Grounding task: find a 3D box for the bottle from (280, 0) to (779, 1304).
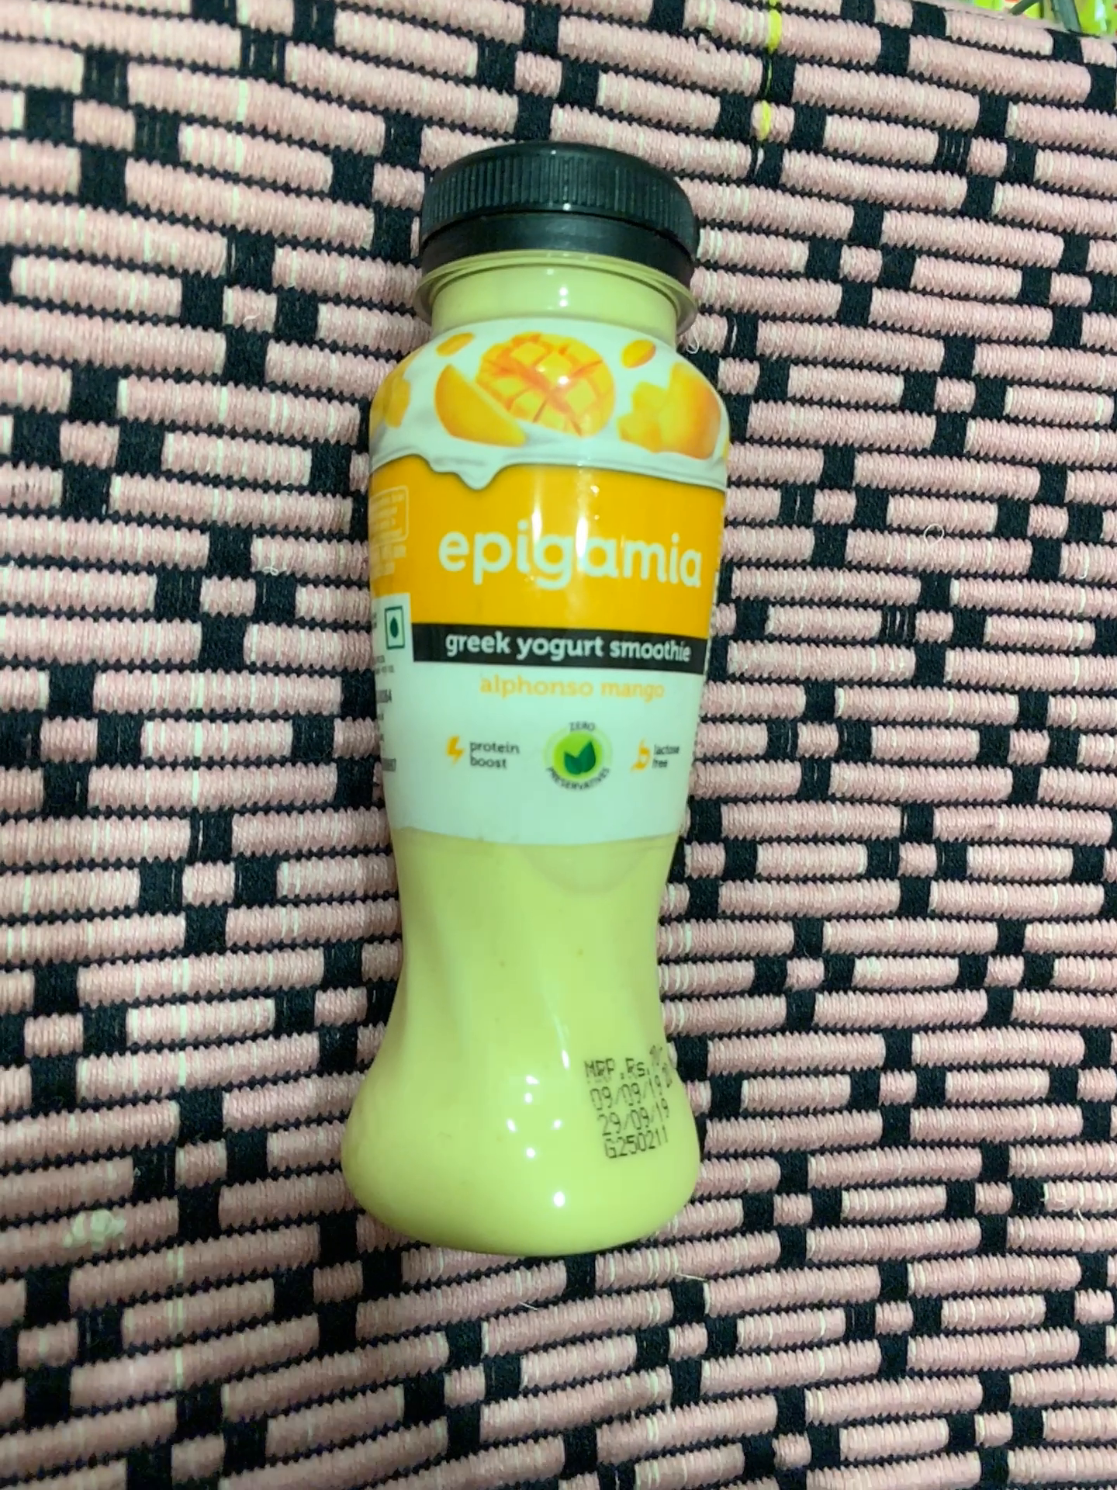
[{"bbox_3d":[-0.007,-0.013,0.174,0.060,0.060,0.160,-1,90,-9],"label":"bottle"}]
